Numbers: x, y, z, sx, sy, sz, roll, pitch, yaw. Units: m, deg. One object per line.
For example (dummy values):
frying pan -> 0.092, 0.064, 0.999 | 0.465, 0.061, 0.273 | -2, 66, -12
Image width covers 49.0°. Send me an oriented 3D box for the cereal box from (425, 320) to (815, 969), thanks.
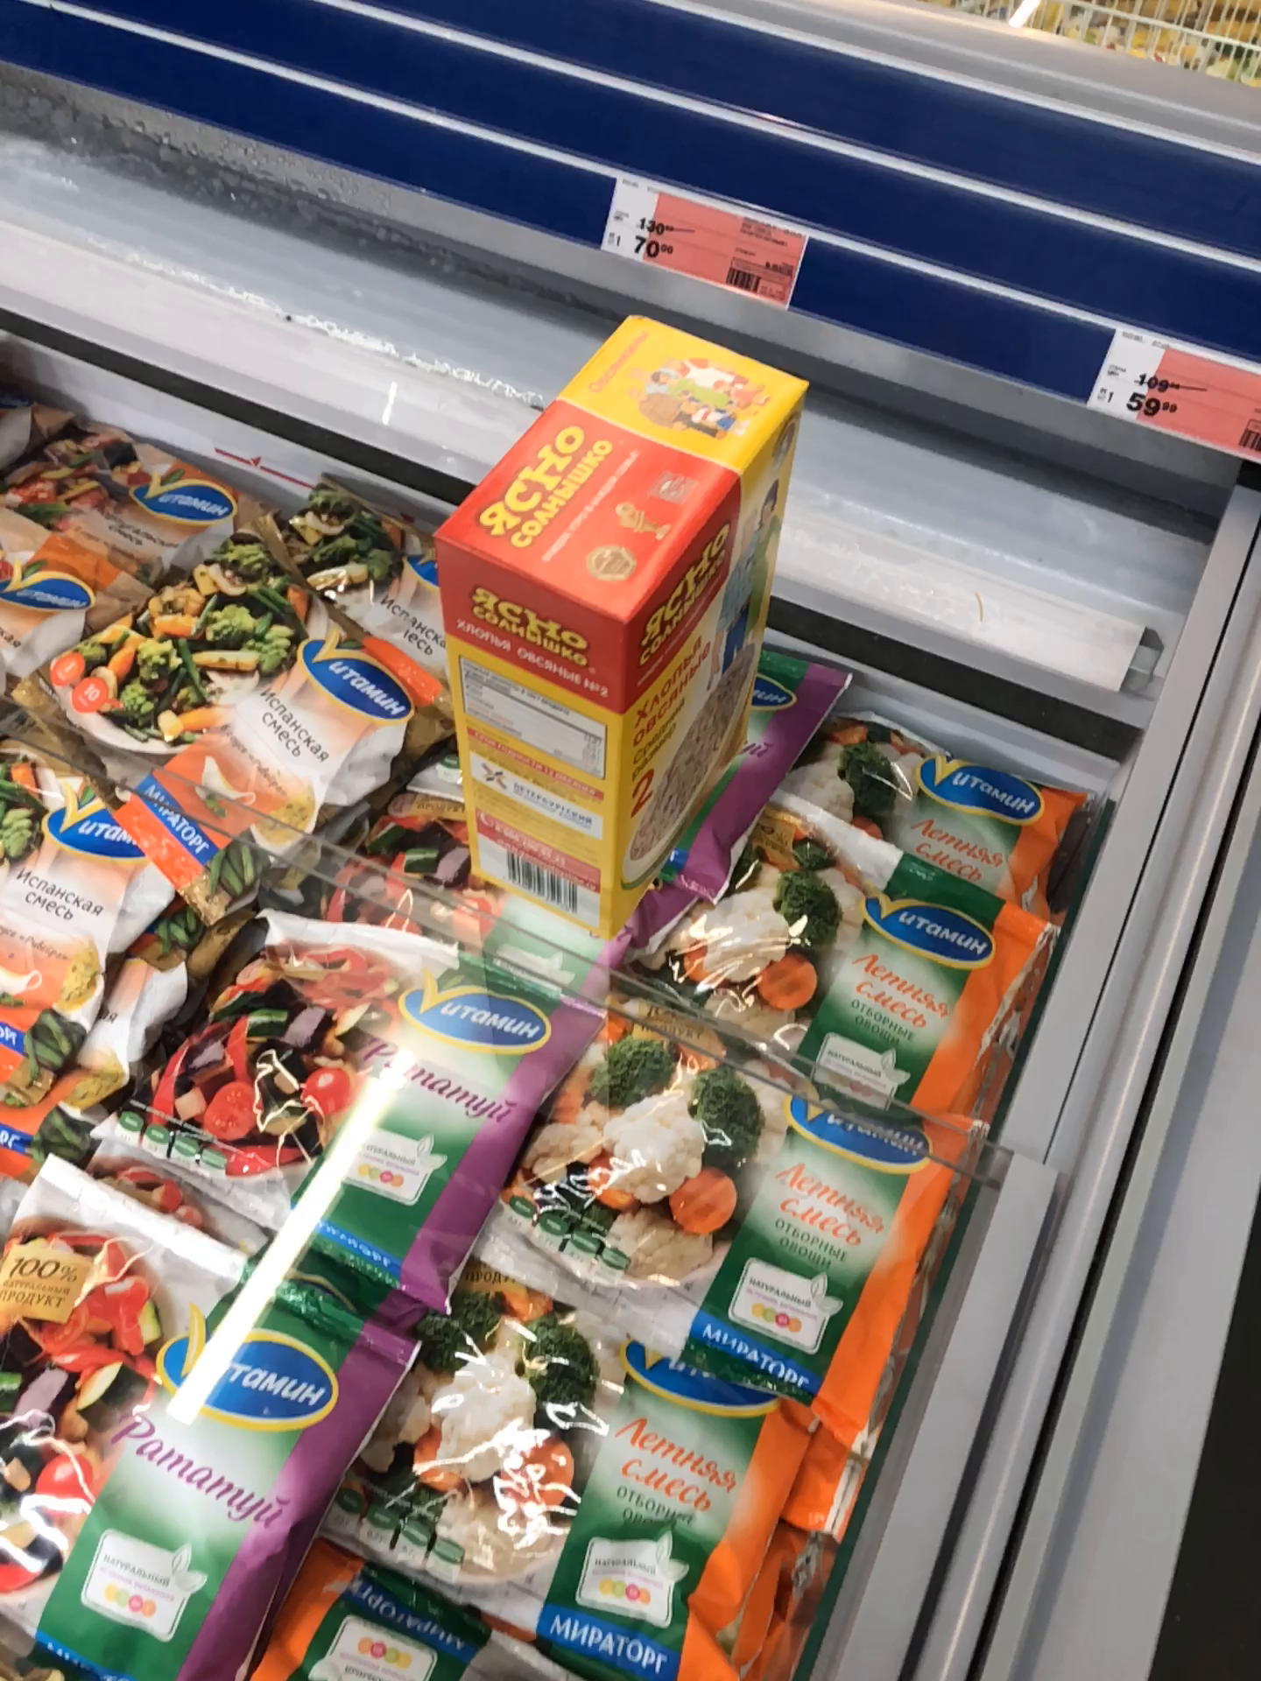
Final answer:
cereal box -> -0.006, -0.061, 0.506 | 0.070, 0.199, 0.121 | 26, 59, 13
